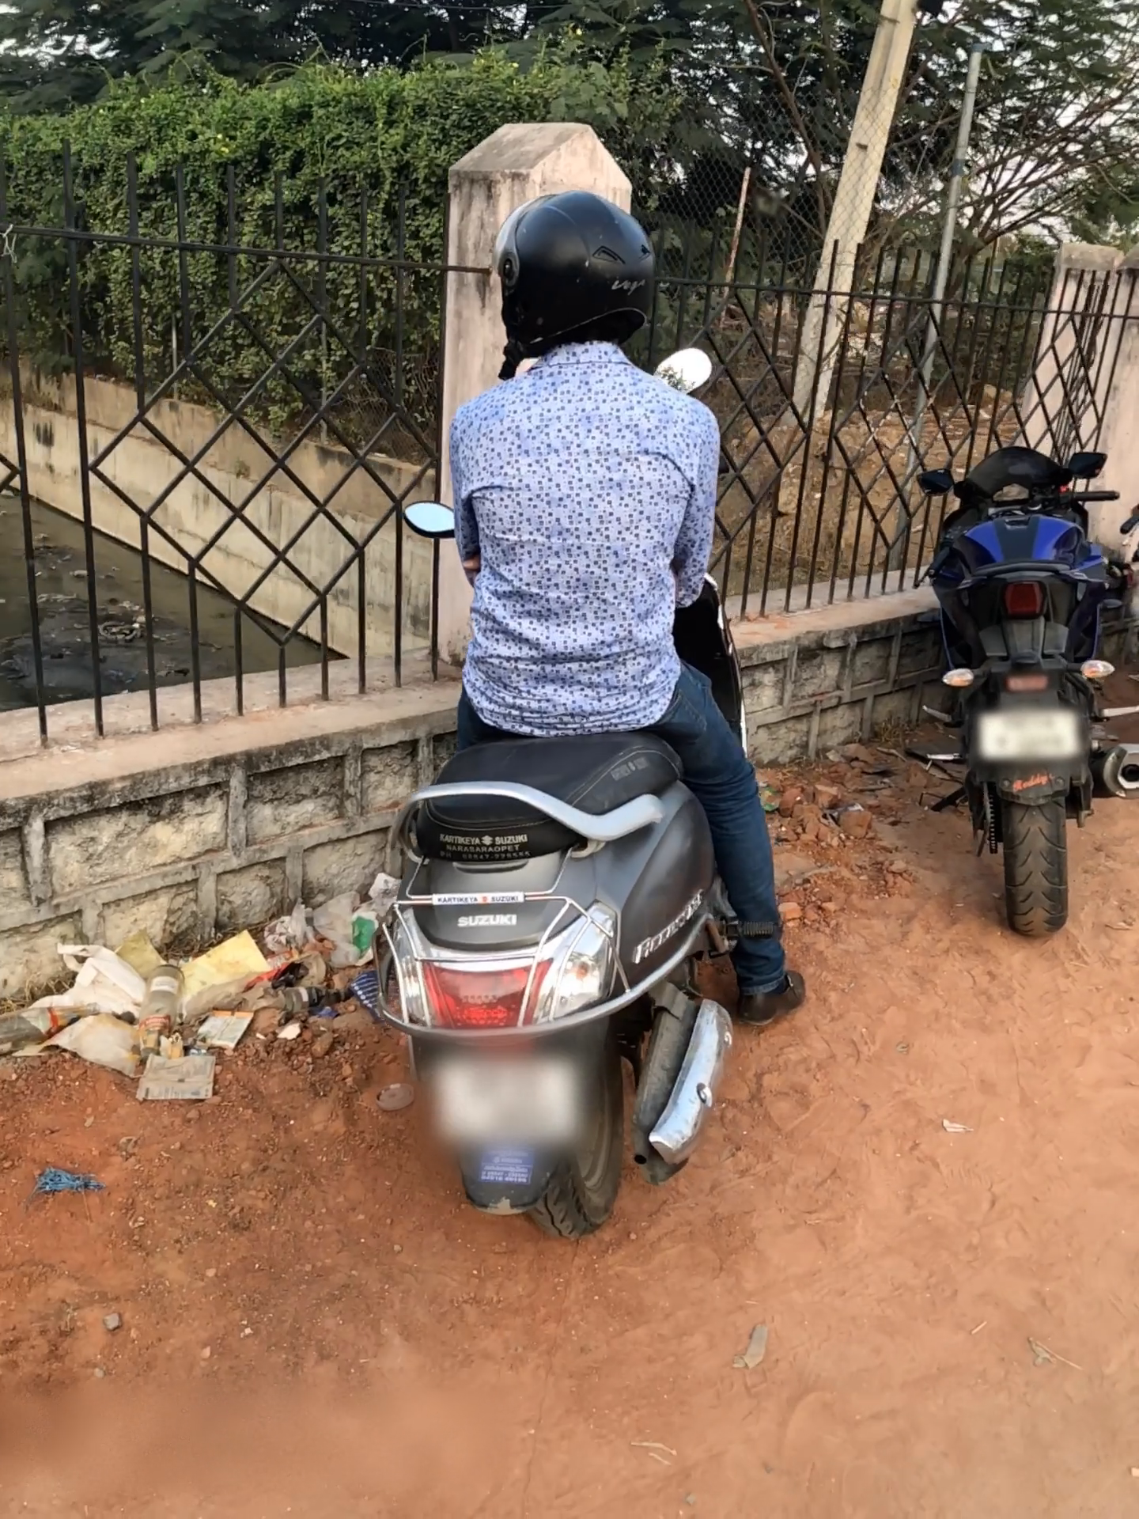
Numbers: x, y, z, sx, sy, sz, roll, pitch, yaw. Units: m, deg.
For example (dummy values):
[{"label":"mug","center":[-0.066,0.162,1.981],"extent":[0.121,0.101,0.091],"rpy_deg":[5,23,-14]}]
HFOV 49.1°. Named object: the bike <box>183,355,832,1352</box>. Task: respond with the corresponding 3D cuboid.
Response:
[{"label":"bike","center":[-0.106,-0.013,2.455],"extent":[0.796,1.217,1.588],"rpy_deg":[4,24,-1]}]
